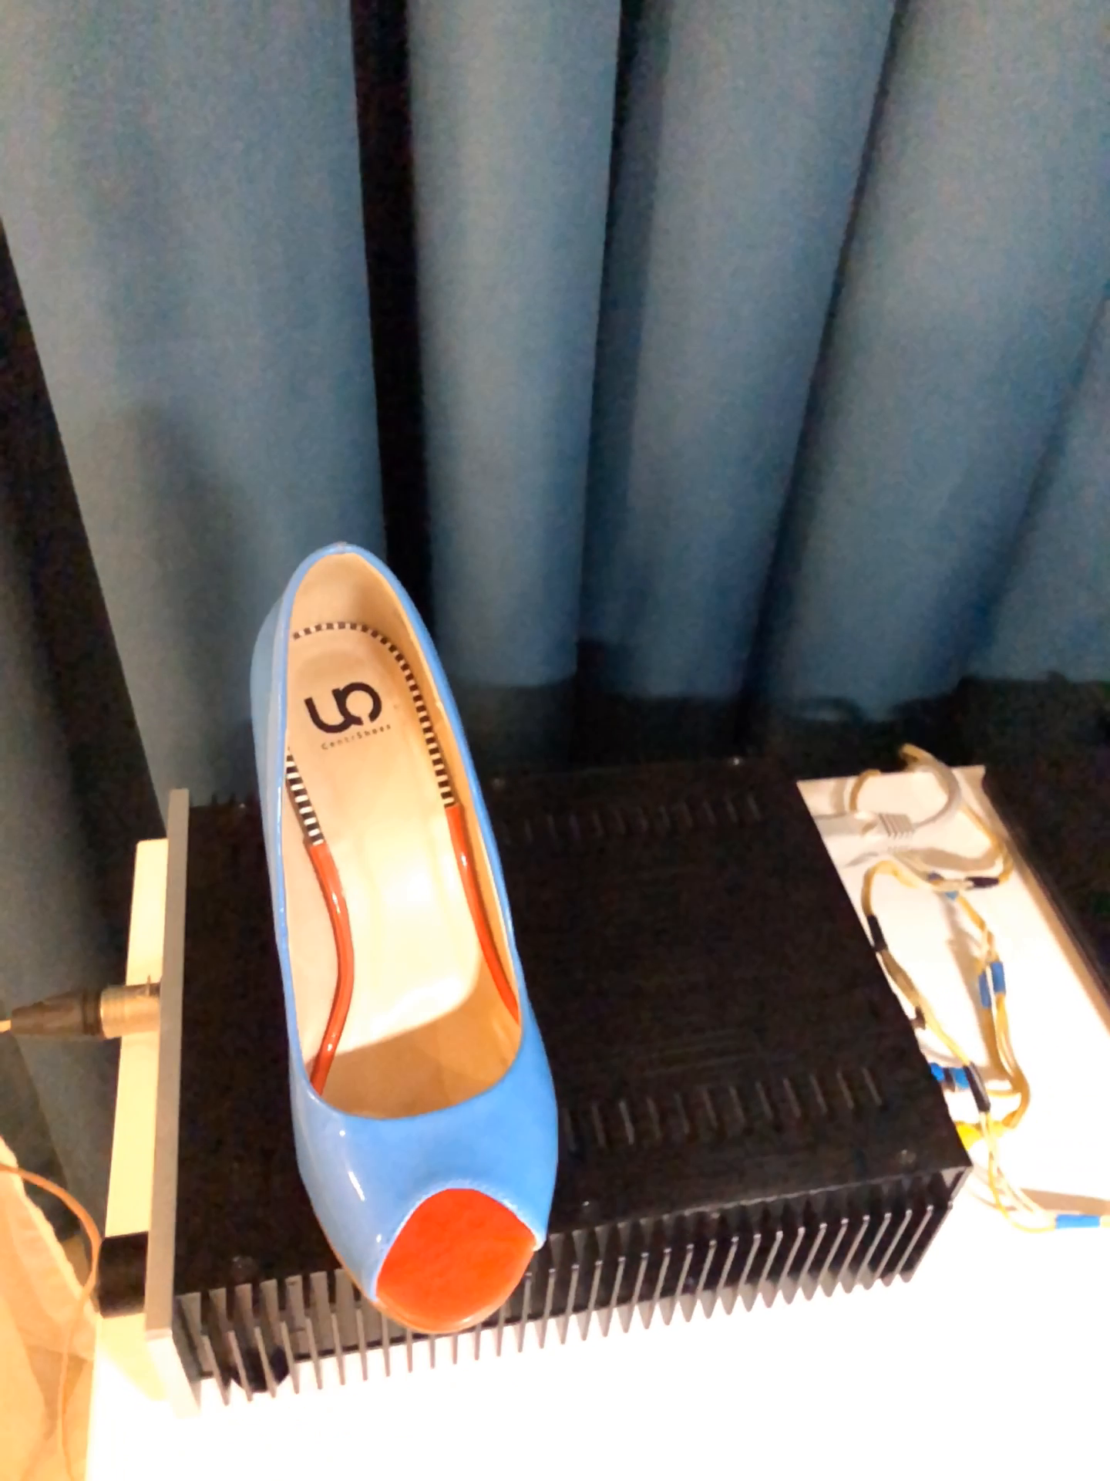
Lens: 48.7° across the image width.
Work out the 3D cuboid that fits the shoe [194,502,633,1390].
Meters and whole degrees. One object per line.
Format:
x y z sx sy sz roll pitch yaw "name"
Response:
-0.055 0.052 0.387 0.080 0.149 0.221 -9 44 -13 "shoe"
